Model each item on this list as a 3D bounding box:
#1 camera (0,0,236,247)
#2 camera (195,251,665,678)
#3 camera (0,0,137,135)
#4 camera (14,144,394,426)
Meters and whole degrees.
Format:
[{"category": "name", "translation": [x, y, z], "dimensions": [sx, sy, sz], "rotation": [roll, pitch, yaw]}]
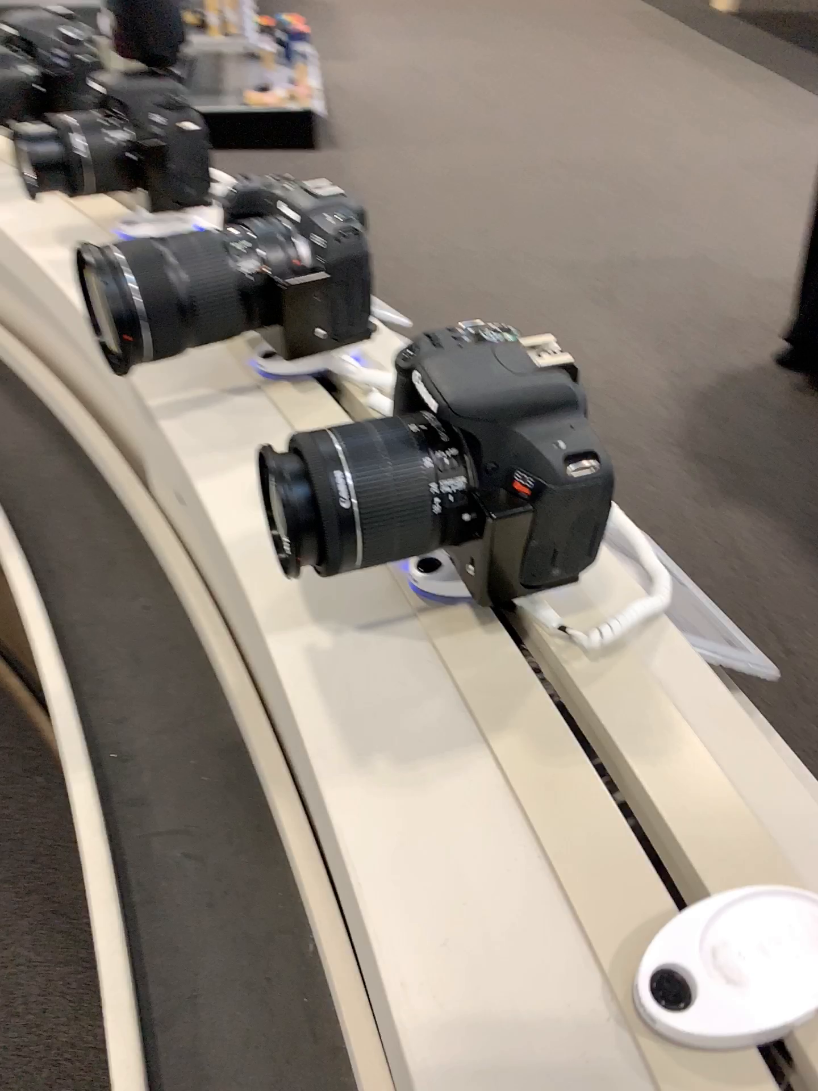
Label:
[{"category": "camera", "translation": [-0.267, -0.400, 0.701], "dimensions": [0.170, 0.219, 0.151], "rotation": [-23, 48, -26]}, {"category": "camera", "translation": [0.001, -0.051, 0.426], "dimensions": [0.170, 0.119, 0.151], "rotation": [-15, 45, -18]}, {"category": "camera", "translation": [-0.413, -0.515, 0.874], "dimensions": [0.190, 0.099, 0.141], "rotation": [-28, 50, -30]}, {"category": "camera", "translation": [-0.133, -0.186, 0.572], "dimensions": [0.200, 0.099, 0.141], "rotation": [-23, 48, -25]}]
